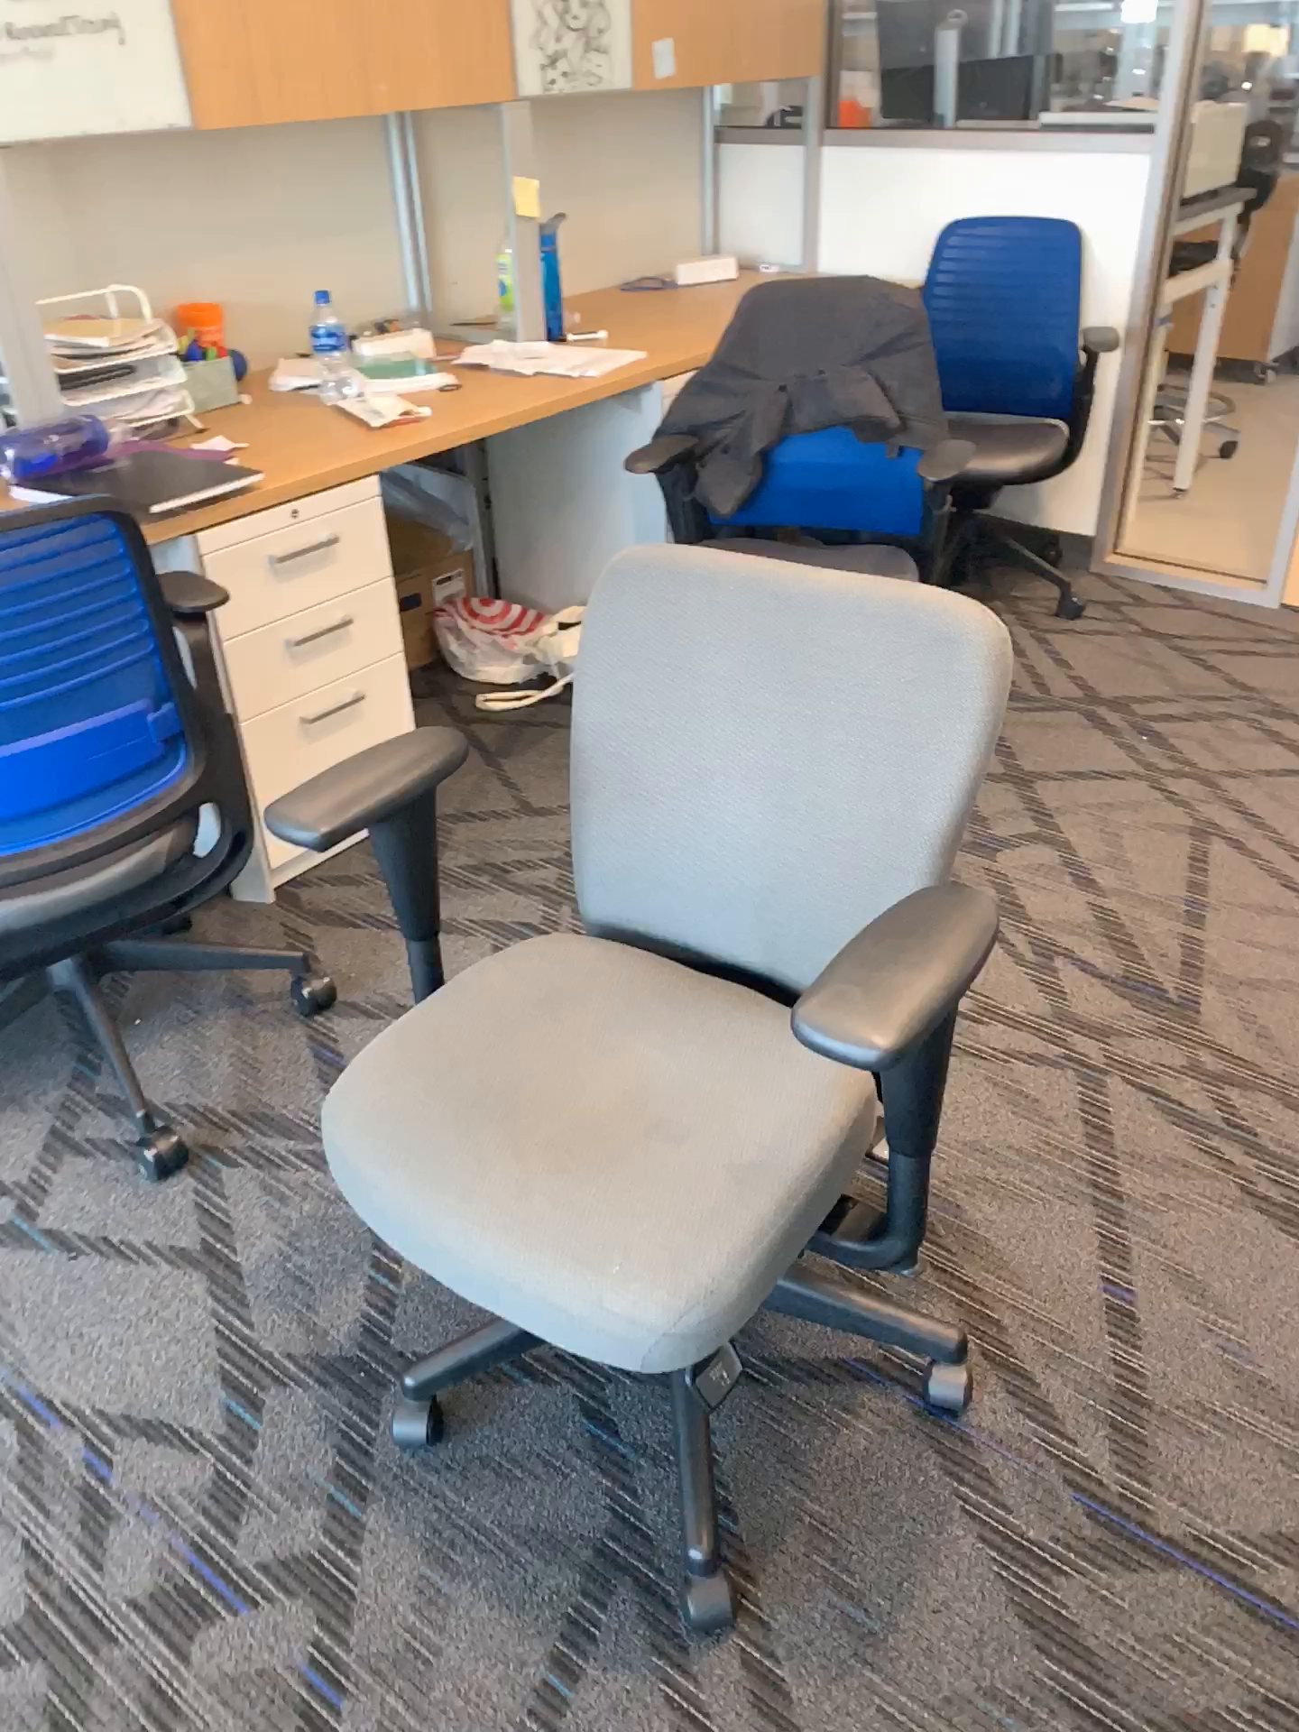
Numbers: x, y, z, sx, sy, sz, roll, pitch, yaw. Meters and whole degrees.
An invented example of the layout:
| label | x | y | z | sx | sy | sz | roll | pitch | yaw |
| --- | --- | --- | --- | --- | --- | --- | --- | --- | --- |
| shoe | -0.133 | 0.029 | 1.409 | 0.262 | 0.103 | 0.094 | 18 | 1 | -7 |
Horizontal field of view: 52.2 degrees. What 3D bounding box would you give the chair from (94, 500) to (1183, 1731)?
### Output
| label | x | y | z | sx | sy | sz | roll | pitch | yaw |
| --- | --- | --- | --- | --- | --- | --- | --- | --- | --- |
| chair | 0.013 | 0.169 | 1.350 | 0.672 | 0.813 | 0.663 | 22 | 39 | 34 |
